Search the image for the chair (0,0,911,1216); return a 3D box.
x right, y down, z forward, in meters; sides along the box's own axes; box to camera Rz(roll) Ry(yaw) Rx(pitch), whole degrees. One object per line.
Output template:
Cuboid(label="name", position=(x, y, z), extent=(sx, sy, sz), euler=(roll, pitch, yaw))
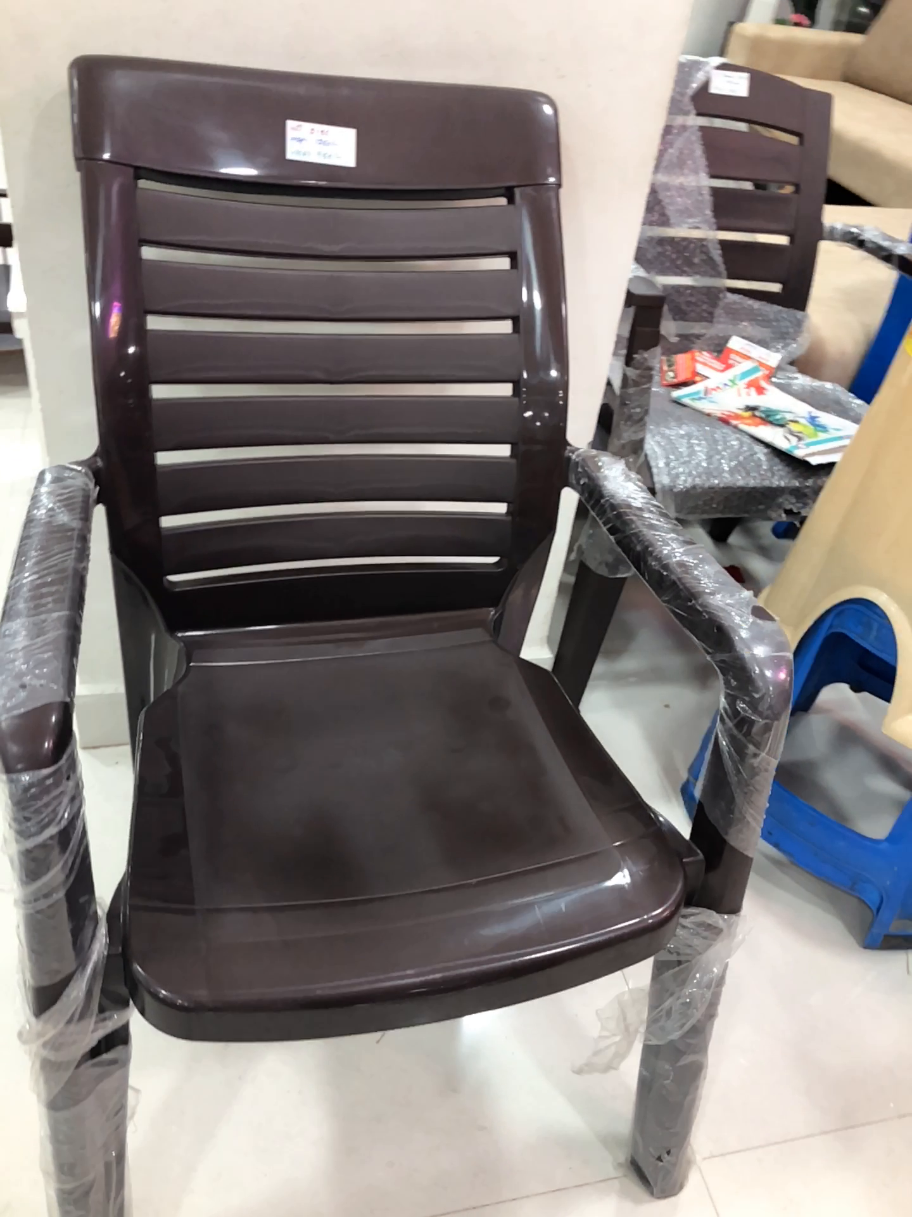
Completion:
Cuboid(label="chair", position=(-0.084, 0.030, 0.948), extent=(0.641, 1.003, 0.673), euler=(-4, 38, -16))
